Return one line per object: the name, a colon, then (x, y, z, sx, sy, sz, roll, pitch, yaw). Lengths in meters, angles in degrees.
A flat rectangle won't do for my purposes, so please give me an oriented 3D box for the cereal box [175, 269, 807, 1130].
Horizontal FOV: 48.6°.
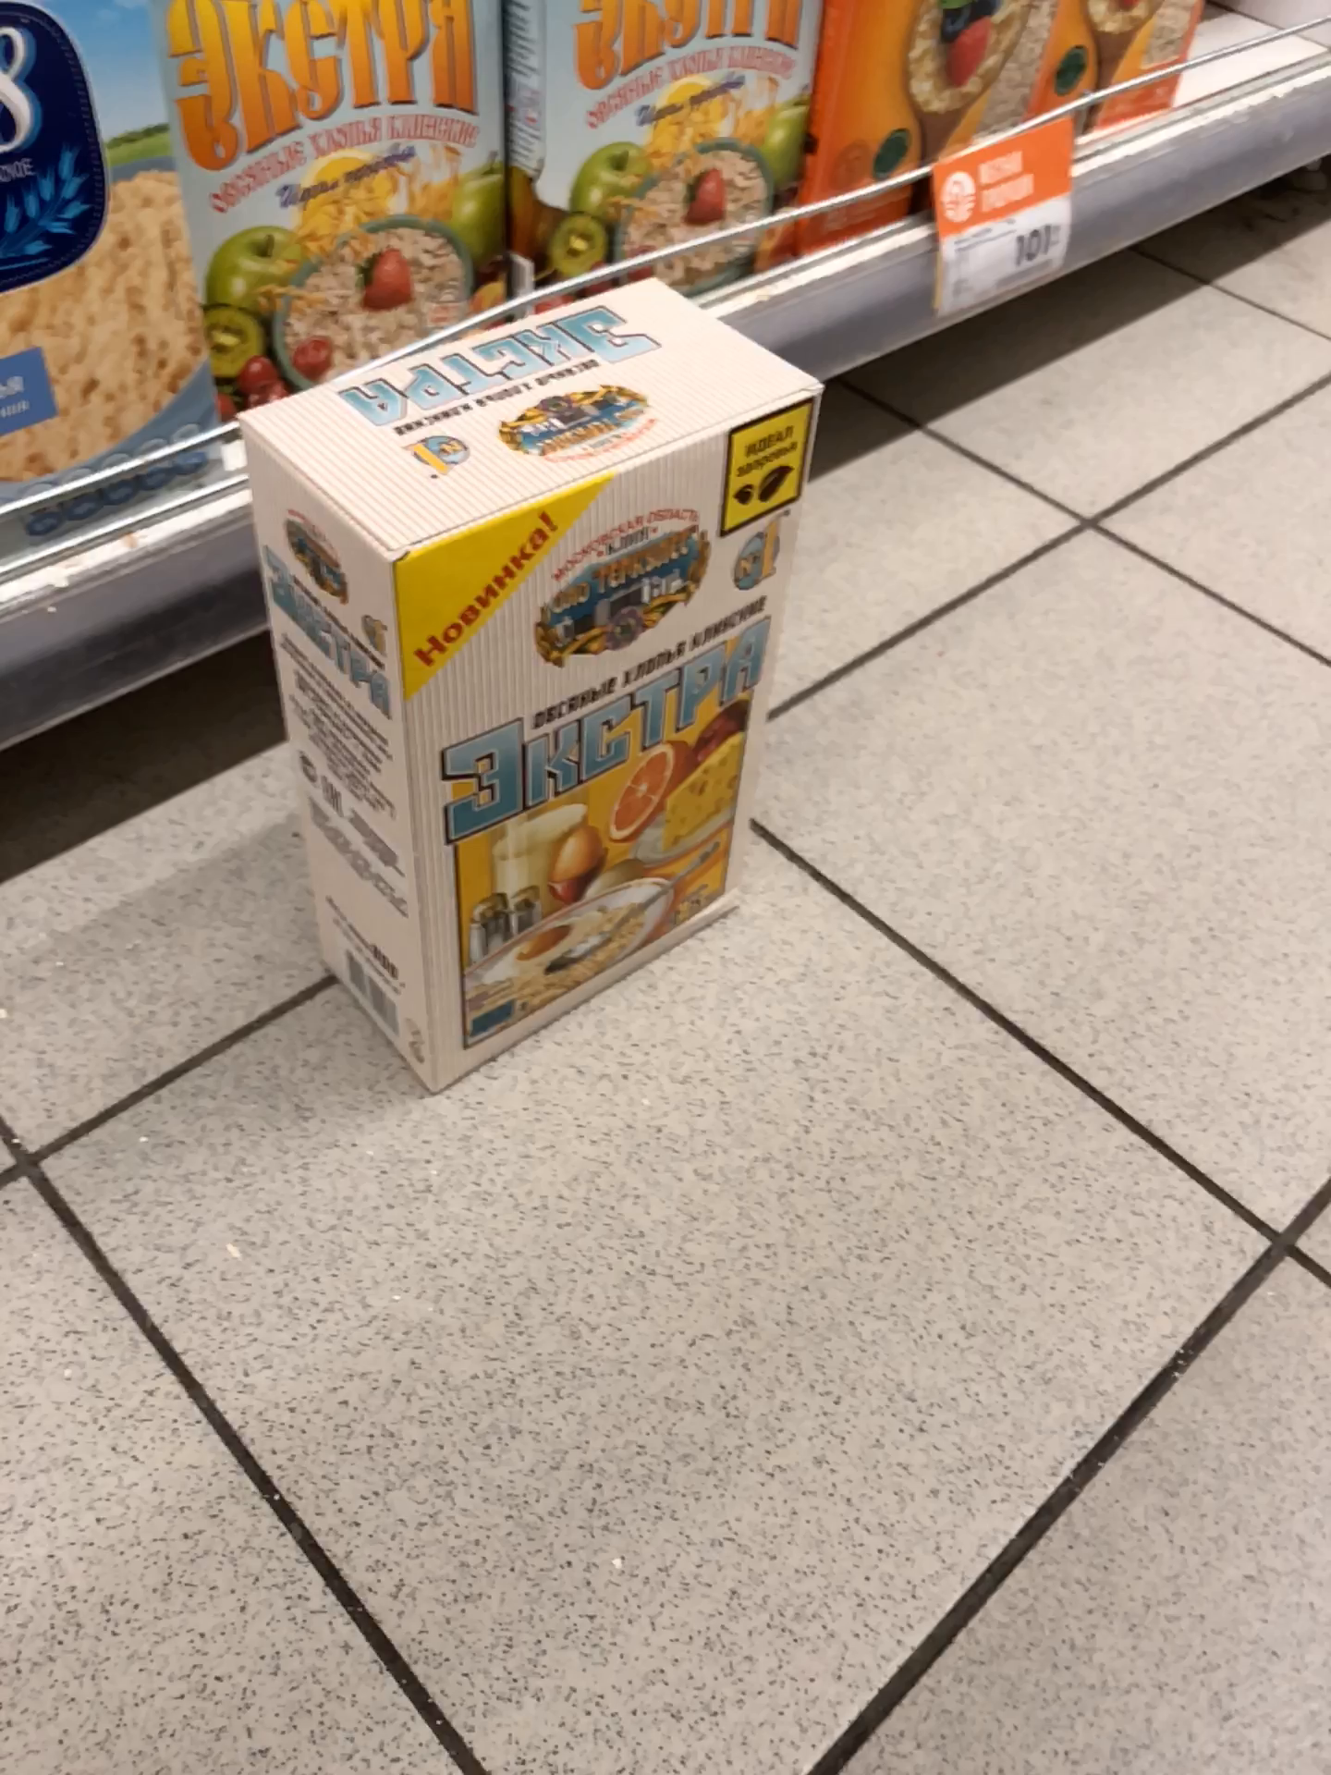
cereal box: (-0.051, -0.052, 0.485, 0.150, 0.239, 0.080, -31, 57, -28)
